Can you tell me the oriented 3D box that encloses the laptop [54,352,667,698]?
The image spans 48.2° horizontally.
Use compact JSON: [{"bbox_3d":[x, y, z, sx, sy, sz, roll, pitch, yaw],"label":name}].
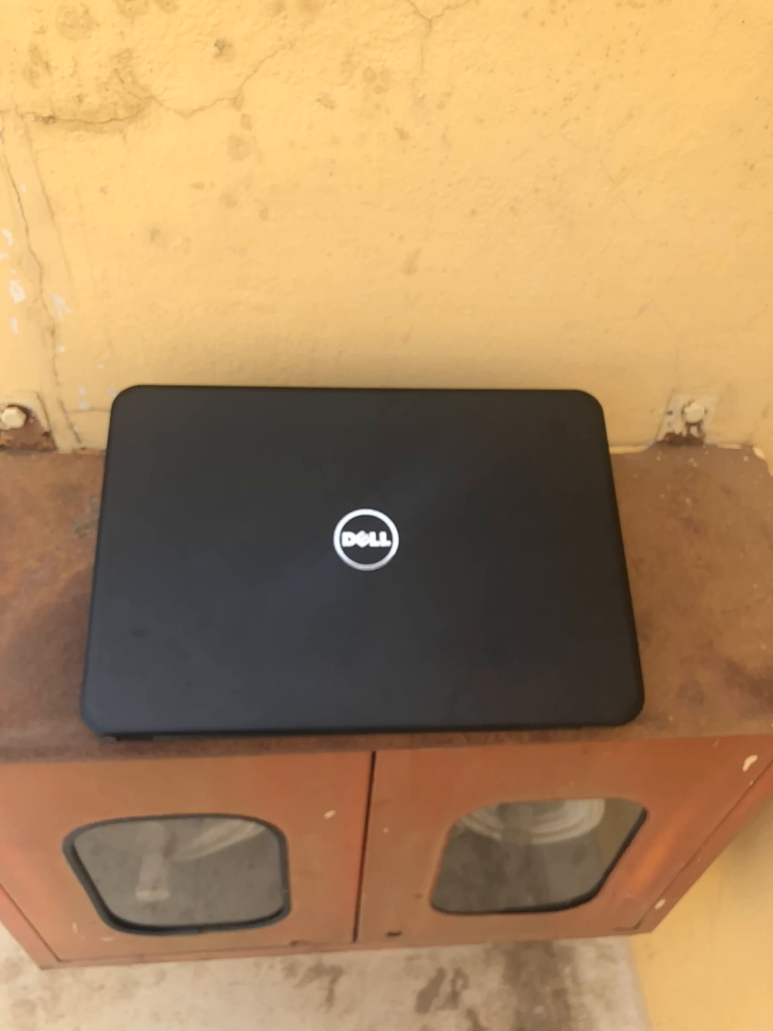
[{"bbox_3d":[-0.015,0.002,0.579,0.352,0.098,0.184,0,57,-4],"label":"laptop"}]
